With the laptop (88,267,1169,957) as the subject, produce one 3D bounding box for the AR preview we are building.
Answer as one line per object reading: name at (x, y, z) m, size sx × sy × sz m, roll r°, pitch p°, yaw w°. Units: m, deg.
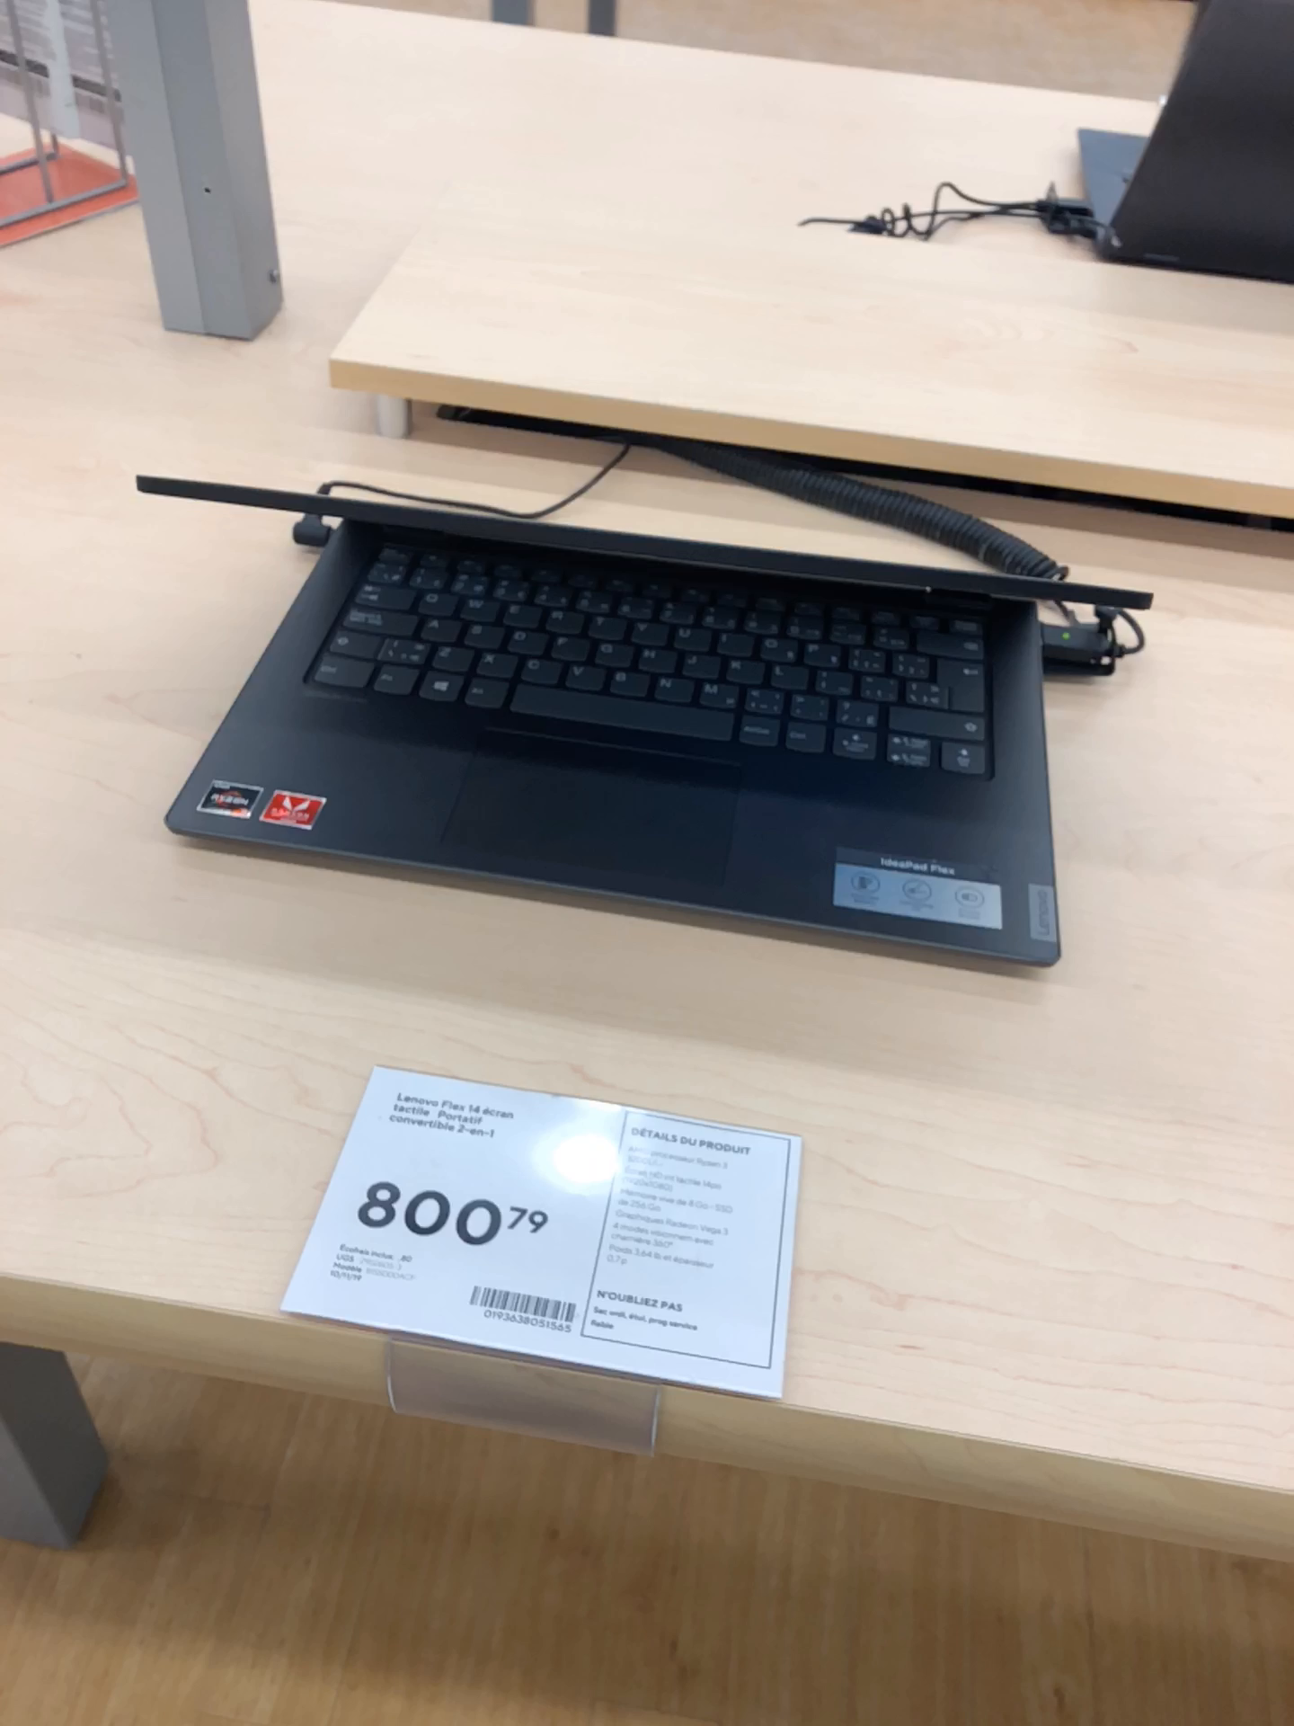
laptop at (0.005, -0.110, 0.557) m, size 0.331 × 0.121 × 0.229 m, roll 8°, pitch 44°, yaw 4°
